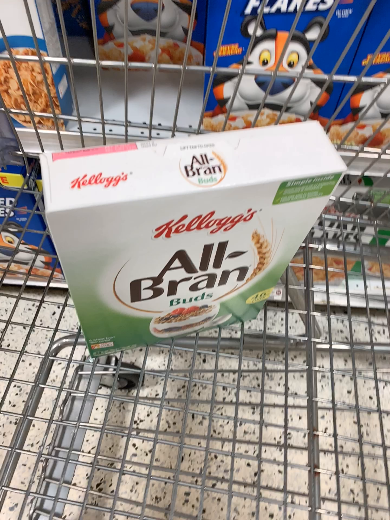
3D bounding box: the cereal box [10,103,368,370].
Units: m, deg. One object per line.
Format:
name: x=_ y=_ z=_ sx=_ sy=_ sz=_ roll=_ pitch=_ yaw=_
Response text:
cereal box: x=-0.013 y=0.010 z=0.359 sx=0.200 sy=0.298 sz=0.050 roll=-11 pitch=62 yaw=-12
